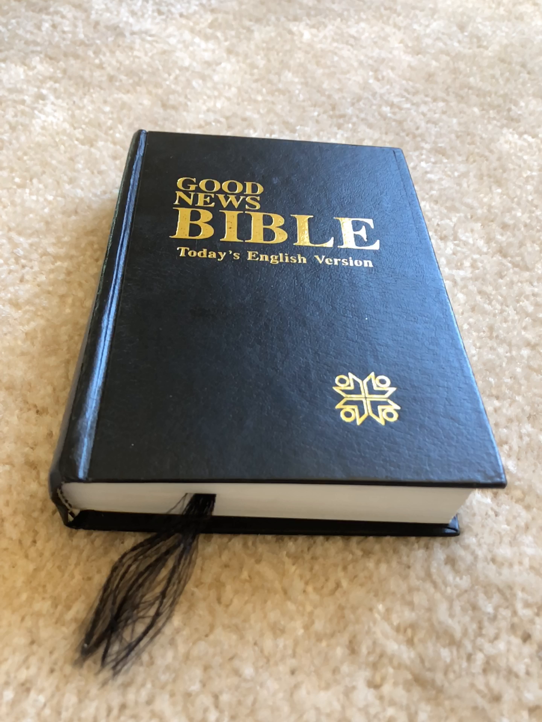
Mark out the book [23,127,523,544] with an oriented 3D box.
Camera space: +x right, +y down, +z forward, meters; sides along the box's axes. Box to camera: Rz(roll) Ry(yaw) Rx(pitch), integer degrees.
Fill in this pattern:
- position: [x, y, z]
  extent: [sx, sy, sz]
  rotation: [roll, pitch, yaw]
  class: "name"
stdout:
- position: [-0.001, -0.020, 0.217]
  extent: [0.124, 0.040, 0.161]
  rotation: [2, 49, -4]
  class: "book"
